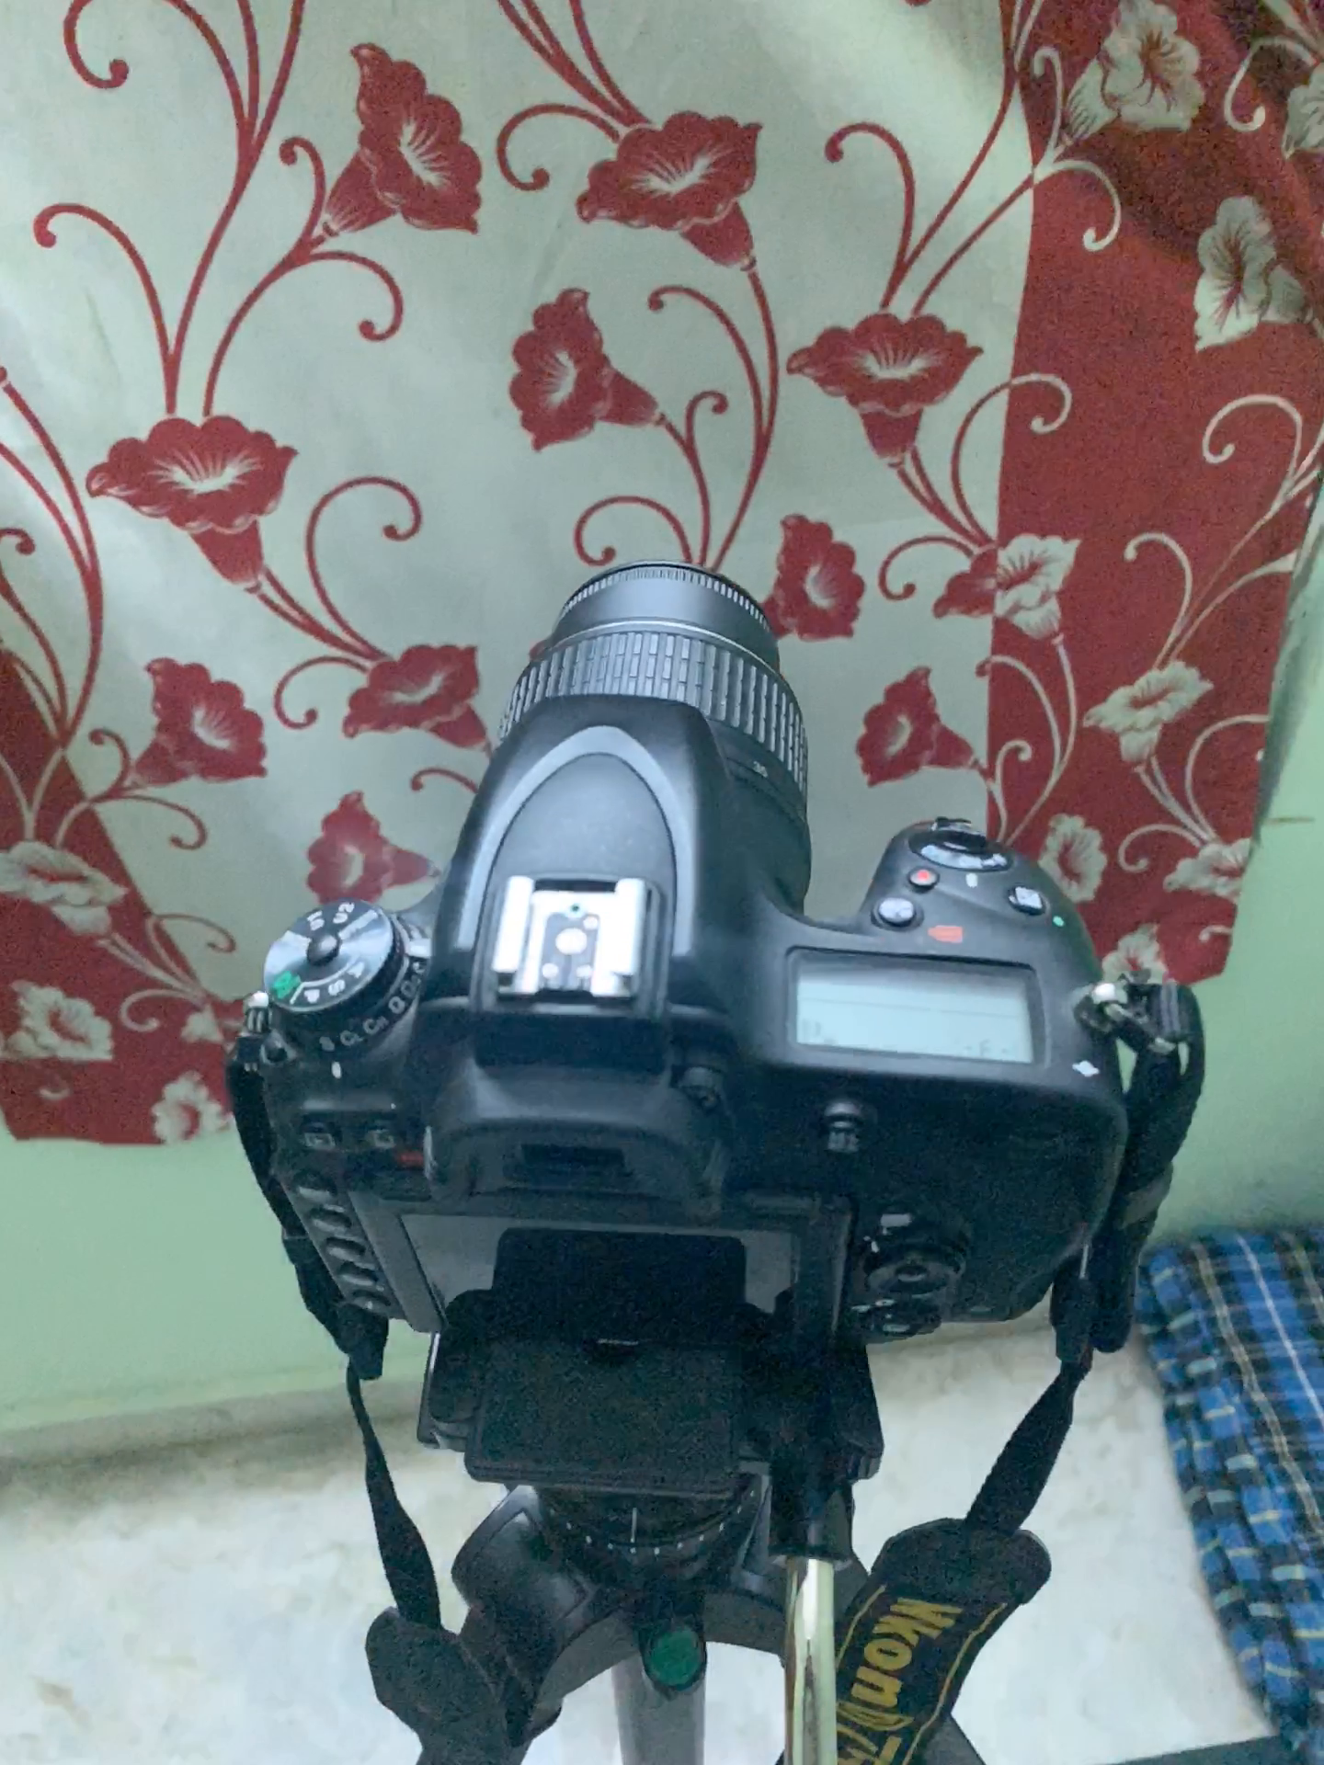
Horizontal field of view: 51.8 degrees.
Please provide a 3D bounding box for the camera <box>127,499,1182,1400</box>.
[{"bbox_3d":[0.003,0.008,0.265,0.139,0.112,0.130,1,43,4],"label":"camera"}]
